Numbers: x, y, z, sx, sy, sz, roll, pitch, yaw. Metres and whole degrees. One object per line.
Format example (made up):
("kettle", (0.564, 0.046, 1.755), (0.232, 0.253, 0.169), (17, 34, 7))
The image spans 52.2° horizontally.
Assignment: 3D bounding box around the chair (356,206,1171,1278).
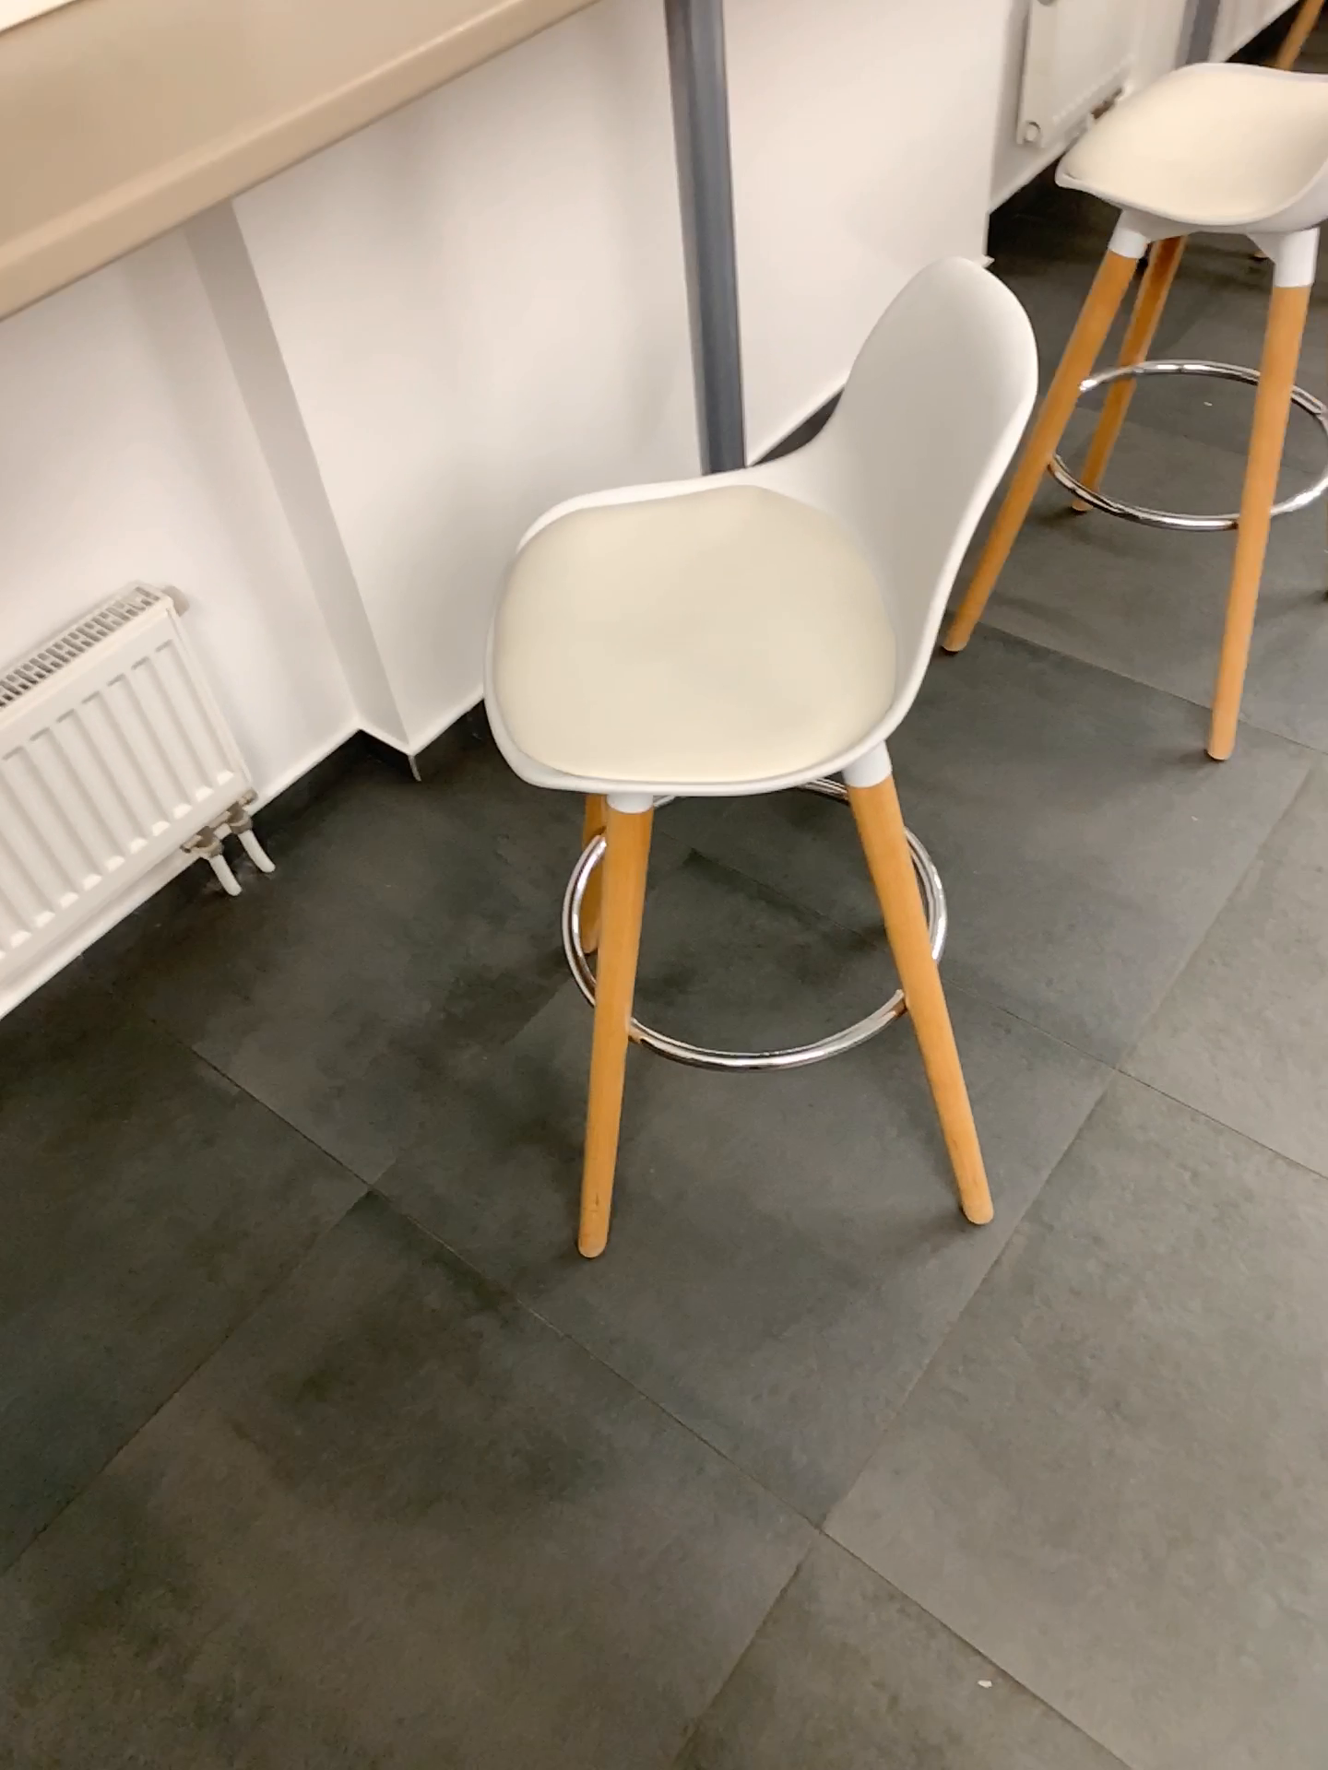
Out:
("chair", (0.082, -0.060, 1.289), (0.480, 0.886, 0.482), (-6, 50, 2))
